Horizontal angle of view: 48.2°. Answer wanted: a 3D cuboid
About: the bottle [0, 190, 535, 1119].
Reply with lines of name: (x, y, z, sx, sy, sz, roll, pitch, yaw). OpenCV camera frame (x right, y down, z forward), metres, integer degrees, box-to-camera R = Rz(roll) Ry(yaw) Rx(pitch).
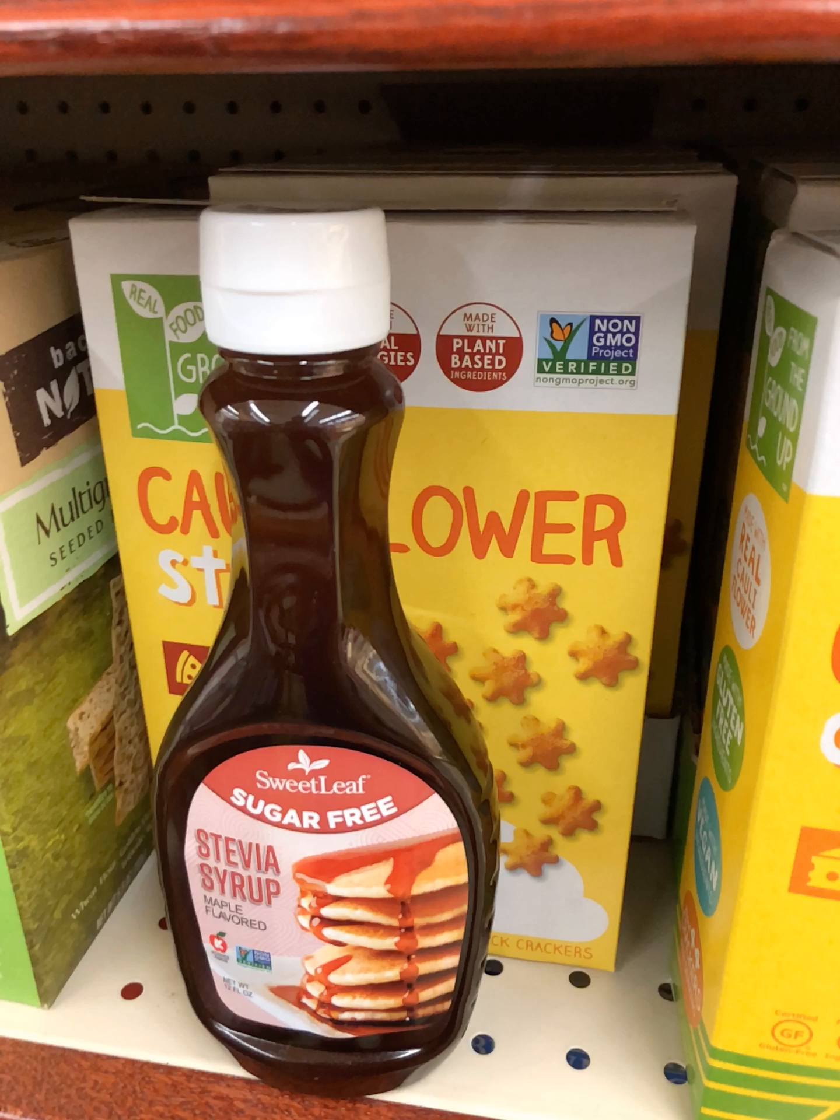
bottle: (-0.027, 0.033, 0.209, 0.092, 0.211, 0.051, 2, 26, 4)
